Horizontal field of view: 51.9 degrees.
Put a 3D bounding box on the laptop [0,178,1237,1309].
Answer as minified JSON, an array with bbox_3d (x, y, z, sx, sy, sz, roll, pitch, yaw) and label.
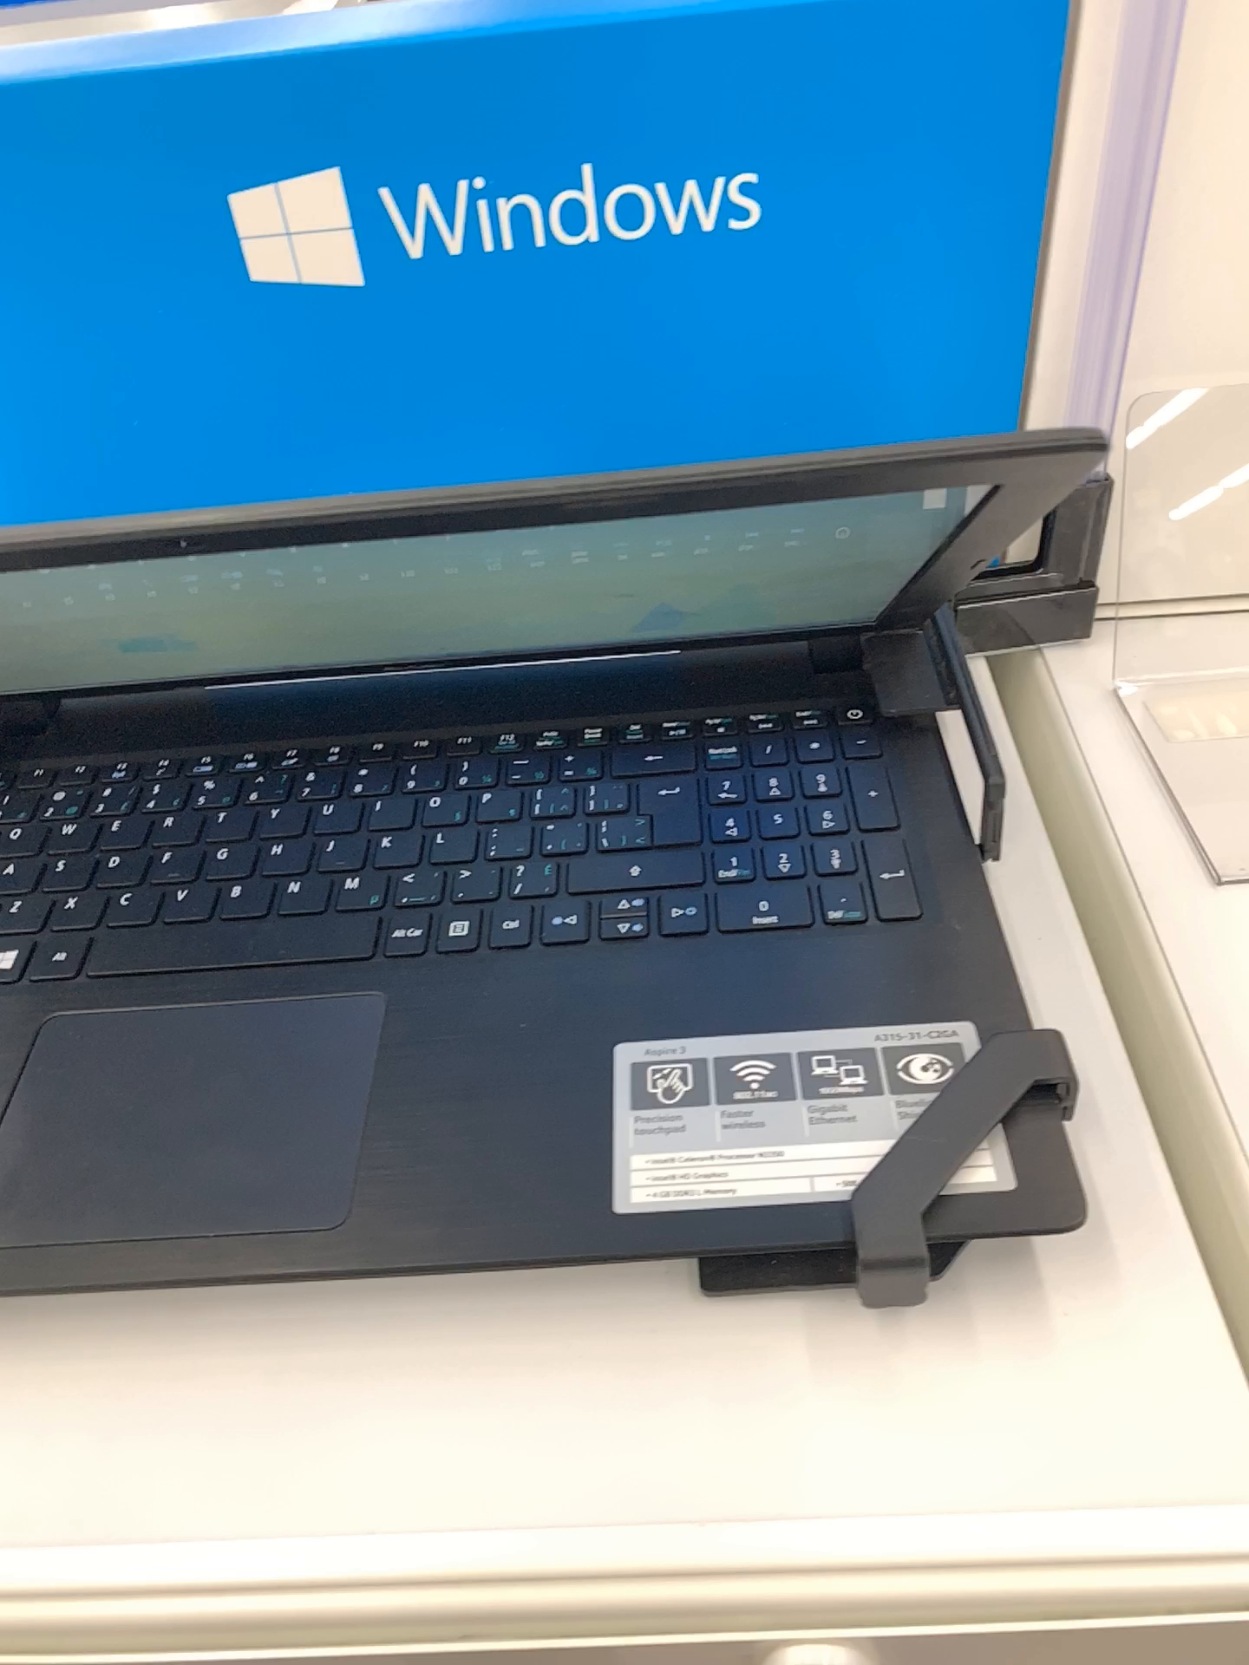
[{"bbox_3d":[-0.077,-0.034,0.323,0.344,0.147,0.227,-4,43,3],"label":"laptop"}]
